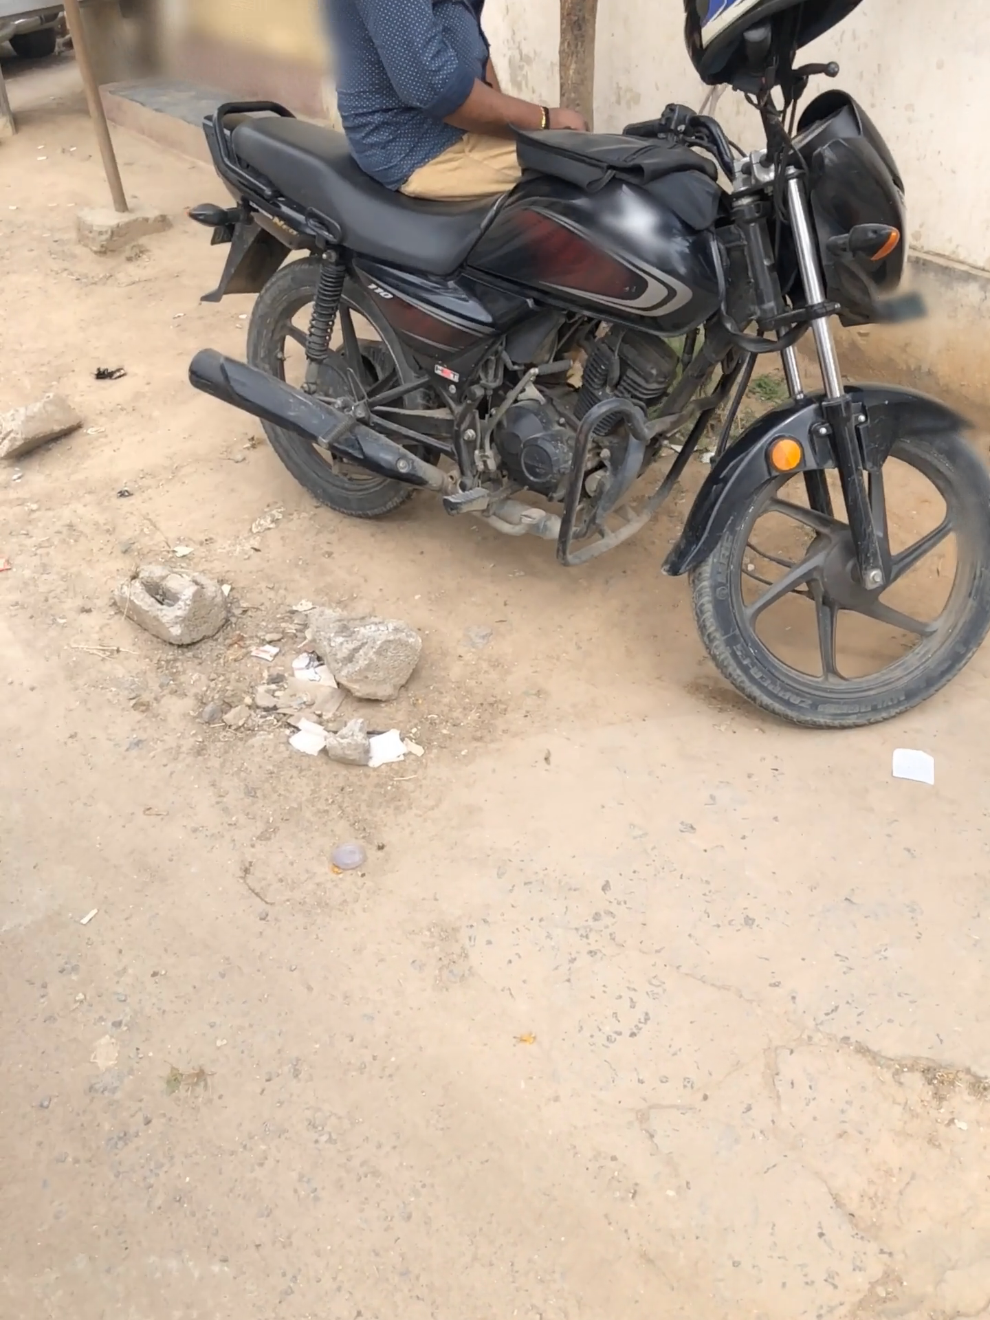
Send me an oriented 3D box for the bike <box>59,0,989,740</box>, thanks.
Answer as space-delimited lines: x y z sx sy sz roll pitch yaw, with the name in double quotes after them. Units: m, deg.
0.210 -0.703 2.136 1.664 1.069 0.725 18 43 23 "bike"
